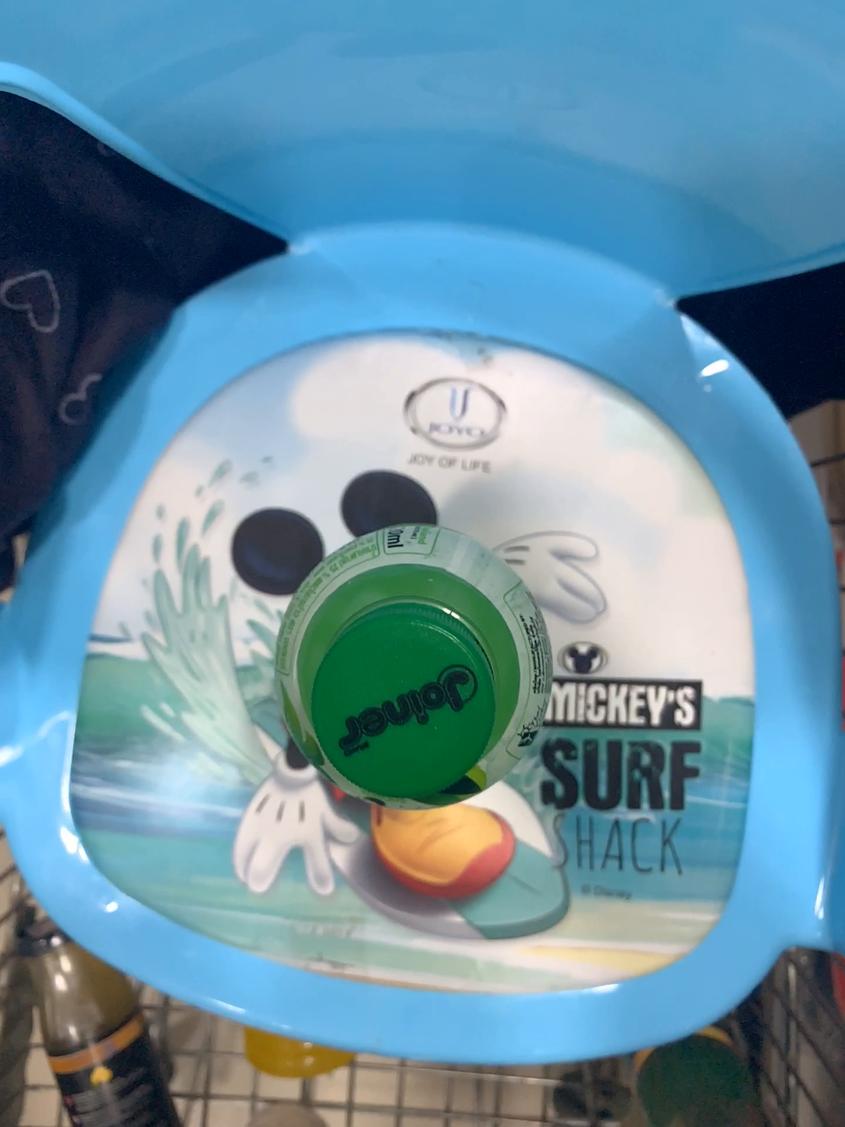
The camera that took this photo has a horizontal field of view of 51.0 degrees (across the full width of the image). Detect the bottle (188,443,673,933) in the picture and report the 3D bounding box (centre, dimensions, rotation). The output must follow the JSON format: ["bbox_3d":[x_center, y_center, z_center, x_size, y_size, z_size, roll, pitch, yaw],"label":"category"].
[{"bbox_3d":[0.003,0.023,0.197,0.060,0.140,0.060,0,85,1],"label":"bottle"}]
